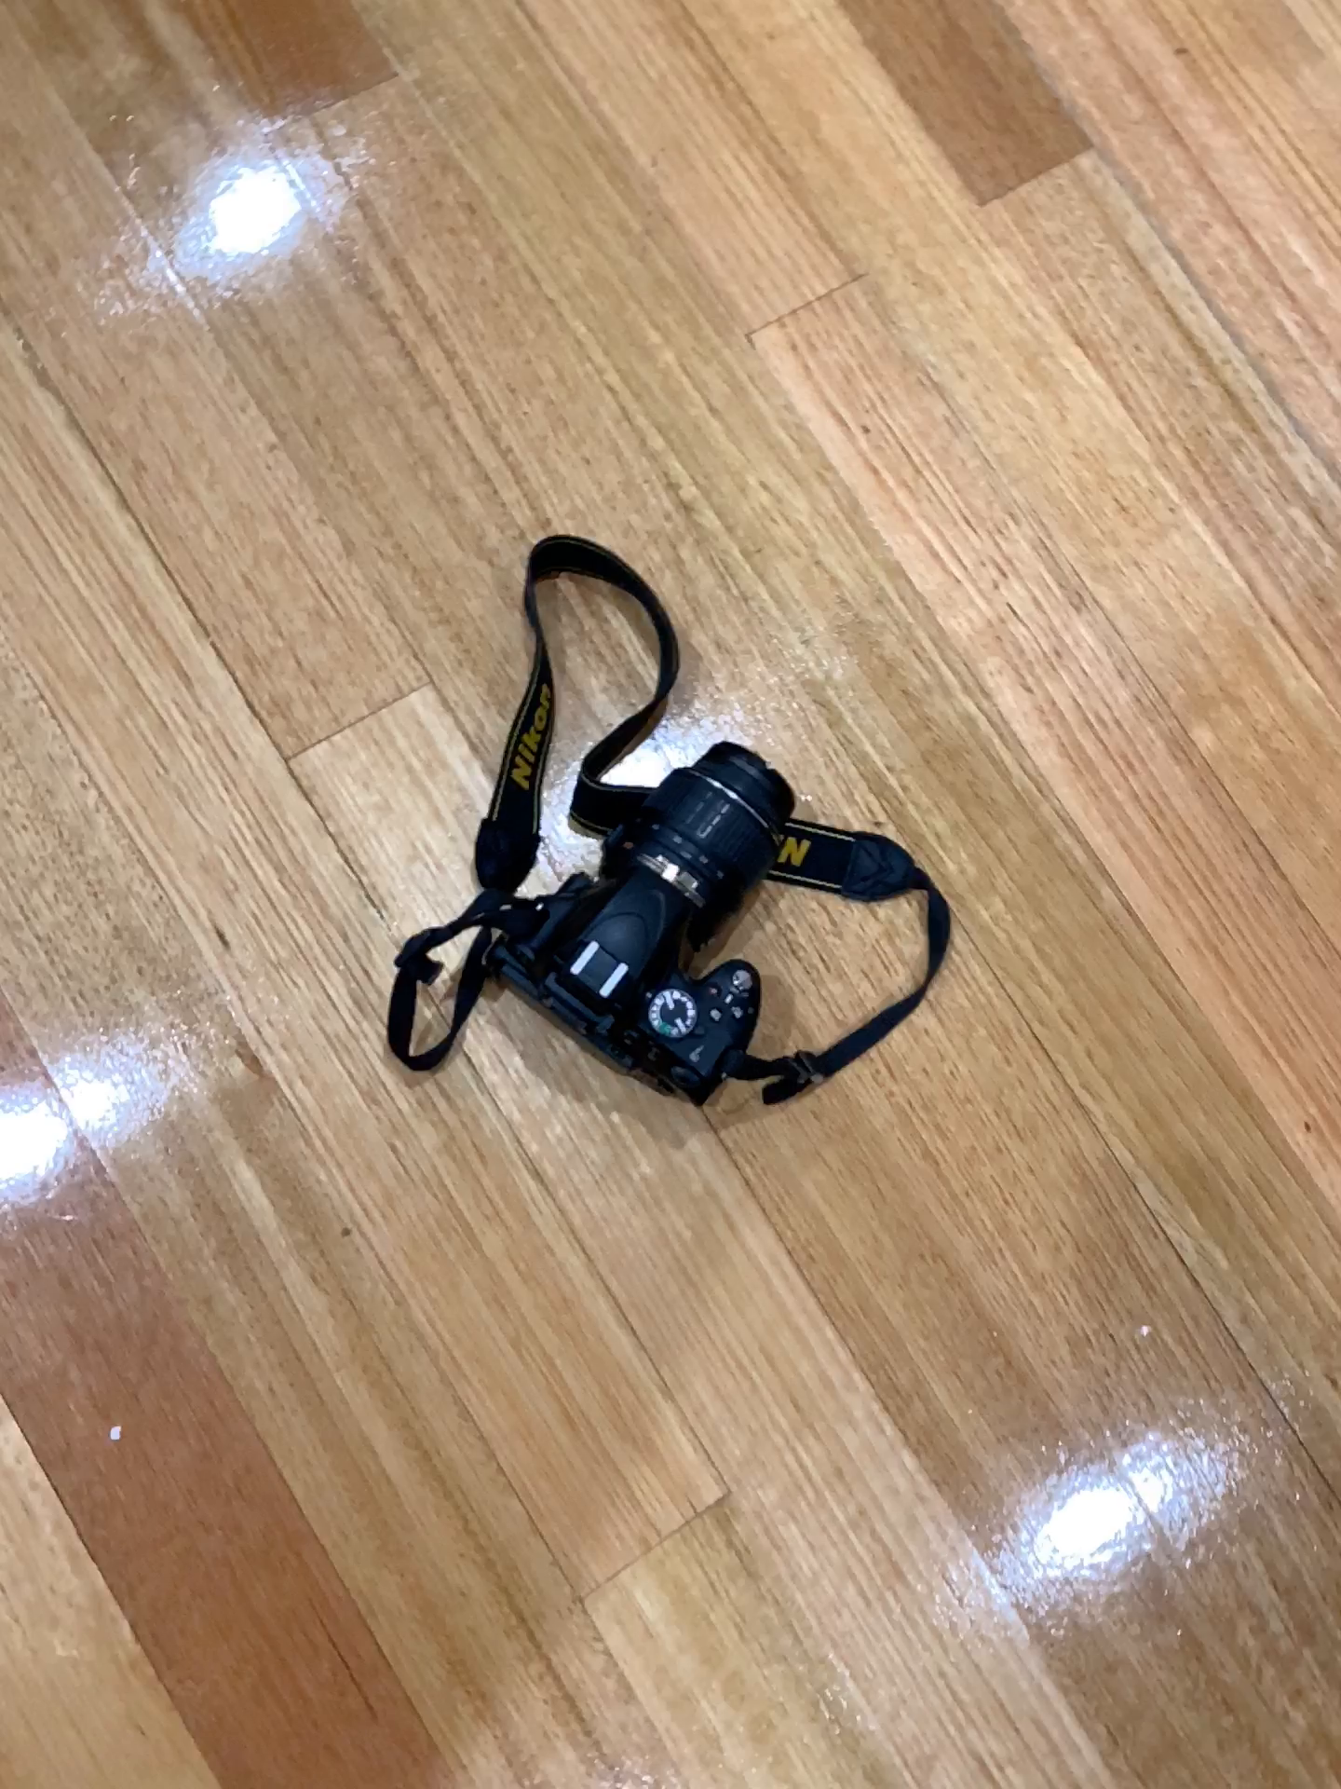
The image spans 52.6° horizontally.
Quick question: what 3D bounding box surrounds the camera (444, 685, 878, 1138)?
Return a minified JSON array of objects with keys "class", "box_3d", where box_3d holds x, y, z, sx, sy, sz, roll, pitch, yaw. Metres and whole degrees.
[{"class":"camera","box_3d":[-0.007,0.013,0.660,0.130,0.100,0.160,34,77,1]}]
